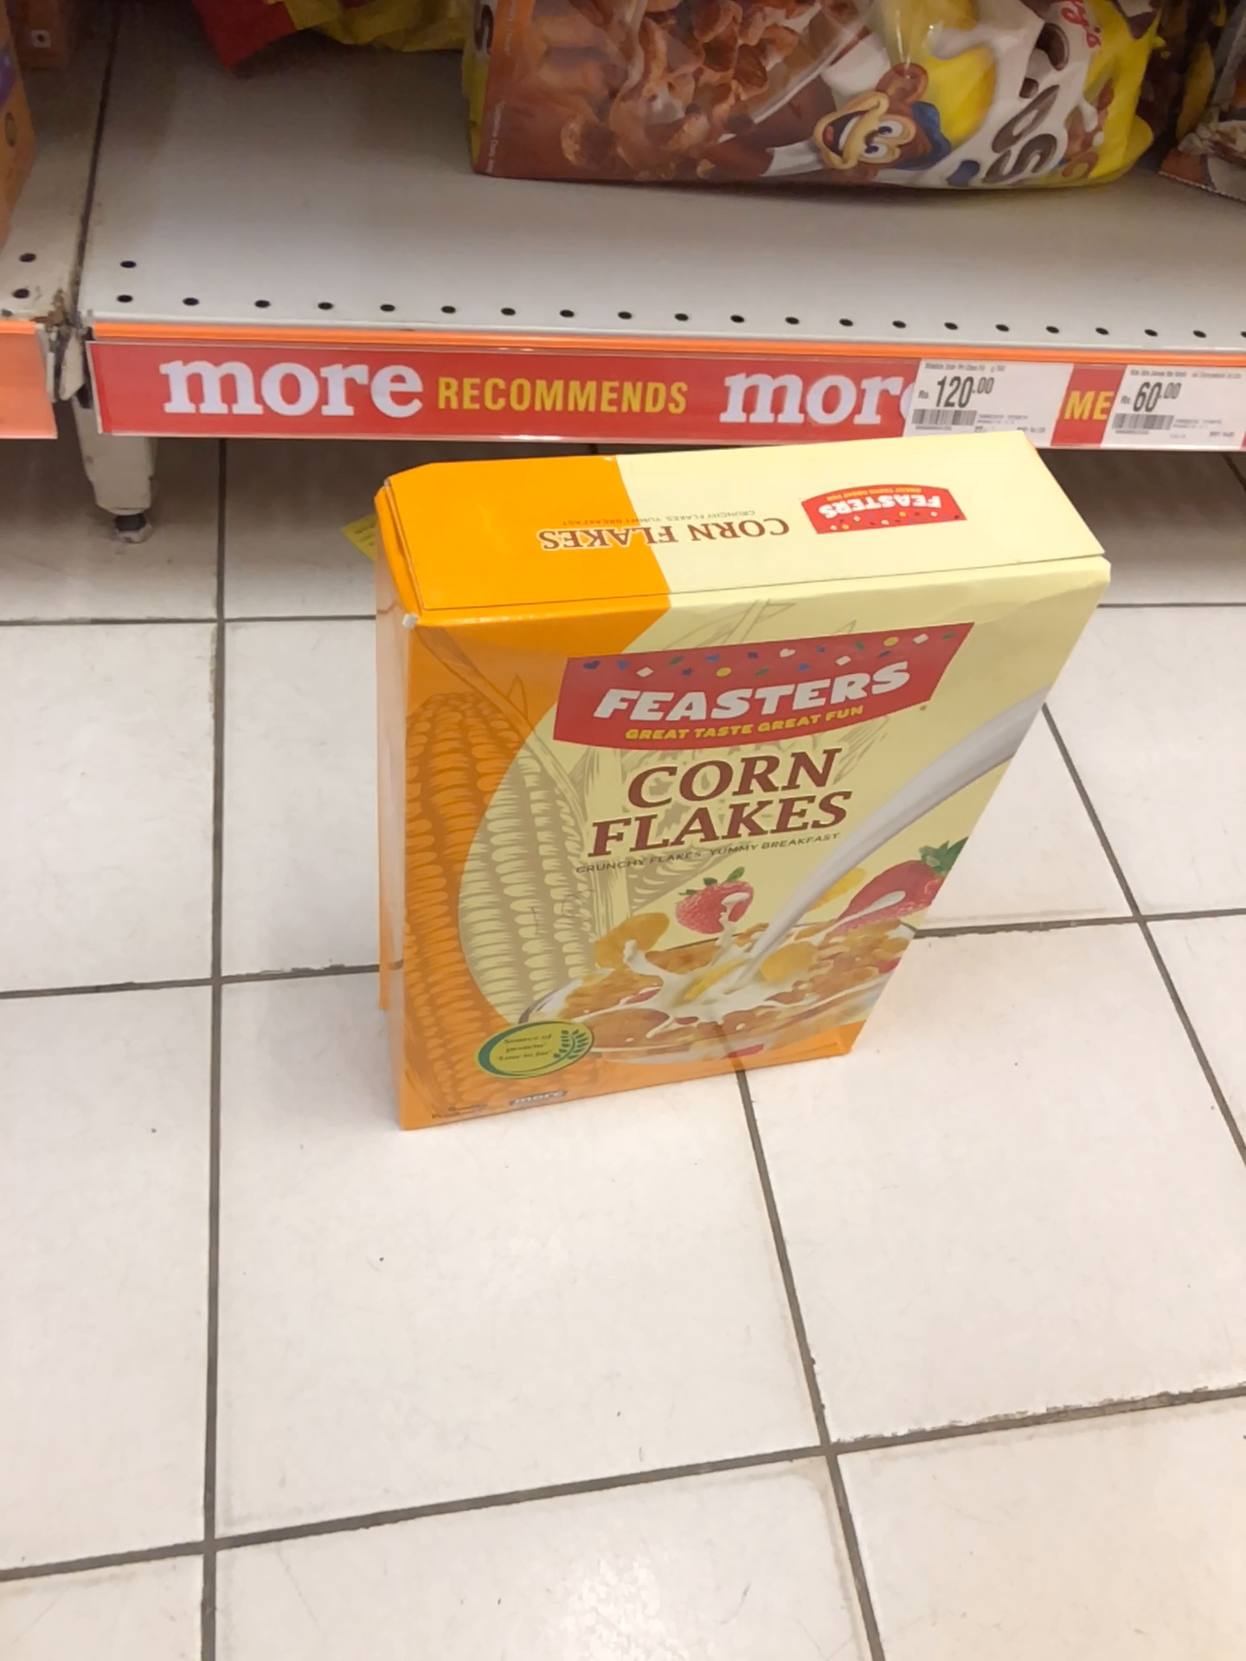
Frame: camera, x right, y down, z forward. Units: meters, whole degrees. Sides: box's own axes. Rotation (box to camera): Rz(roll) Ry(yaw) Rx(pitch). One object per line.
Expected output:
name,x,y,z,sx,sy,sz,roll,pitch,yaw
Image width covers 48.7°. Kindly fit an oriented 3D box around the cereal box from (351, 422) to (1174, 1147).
cereal box,0.019,0.001,0.425,0.190,0.248,0.060,-7,54,-14
